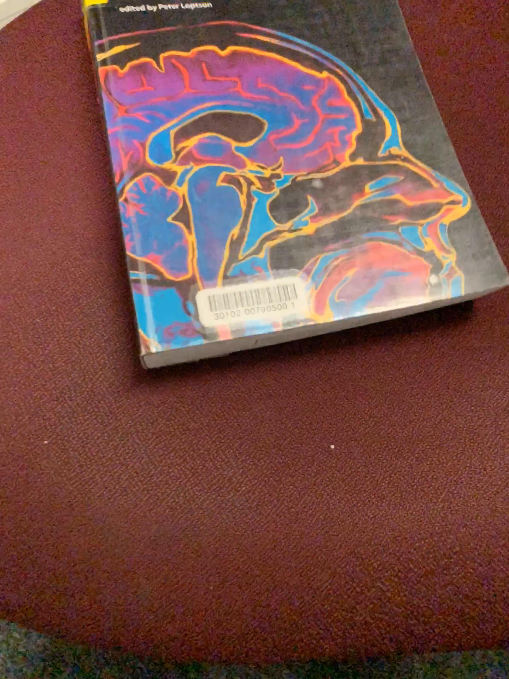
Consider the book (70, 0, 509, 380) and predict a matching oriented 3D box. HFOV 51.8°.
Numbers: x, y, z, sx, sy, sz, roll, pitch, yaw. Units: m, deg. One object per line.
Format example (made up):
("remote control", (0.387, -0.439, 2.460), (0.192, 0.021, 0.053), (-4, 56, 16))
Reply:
("book", (0.019, -0.116, 0.278), (0.200, 0.040, 0.241), (-10, 69, -7))
